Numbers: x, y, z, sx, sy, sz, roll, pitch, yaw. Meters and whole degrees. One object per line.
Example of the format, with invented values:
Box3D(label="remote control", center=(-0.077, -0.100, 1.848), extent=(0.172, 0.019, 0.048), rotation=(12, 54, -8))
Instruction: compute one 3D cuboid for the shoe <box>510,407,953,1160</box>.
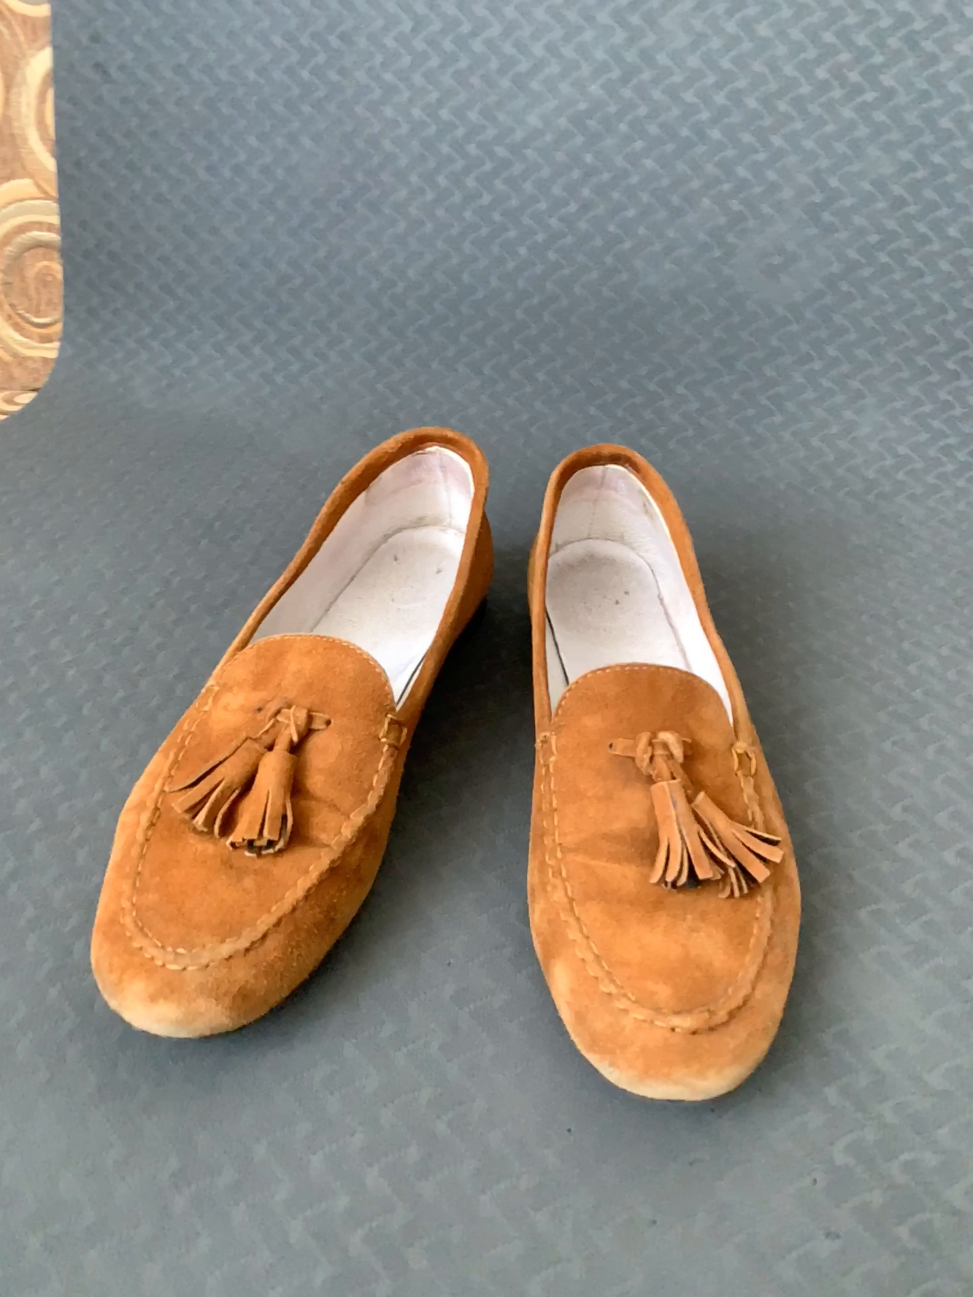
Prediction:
Box3D(label="shoe", center=(0.055, 0.024, 0.331), extent=(0.090, 0.090, 0.241), rotation=(2, 44, 0))

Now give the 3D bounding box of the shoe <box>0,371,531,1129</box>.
Box3D(label="shoe", center=(-0.063, 0.011, 0.327), extent=(0.090, 0.090, 0.231), rotation=(14, 45, 12))
